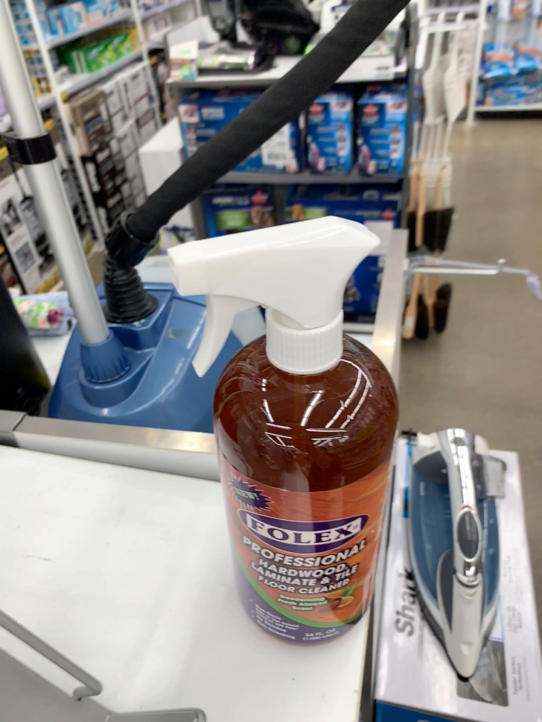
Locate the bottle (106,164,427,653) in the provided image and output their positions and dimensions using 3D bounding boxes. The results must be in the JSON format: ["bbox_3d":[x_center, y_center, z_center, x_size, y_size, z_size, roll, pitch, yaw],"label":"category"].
[{"bbox_3d":[0.011,0.043,0.286,0.100,0.249,0.090,-2,39,6],"label":"bottle"}]
